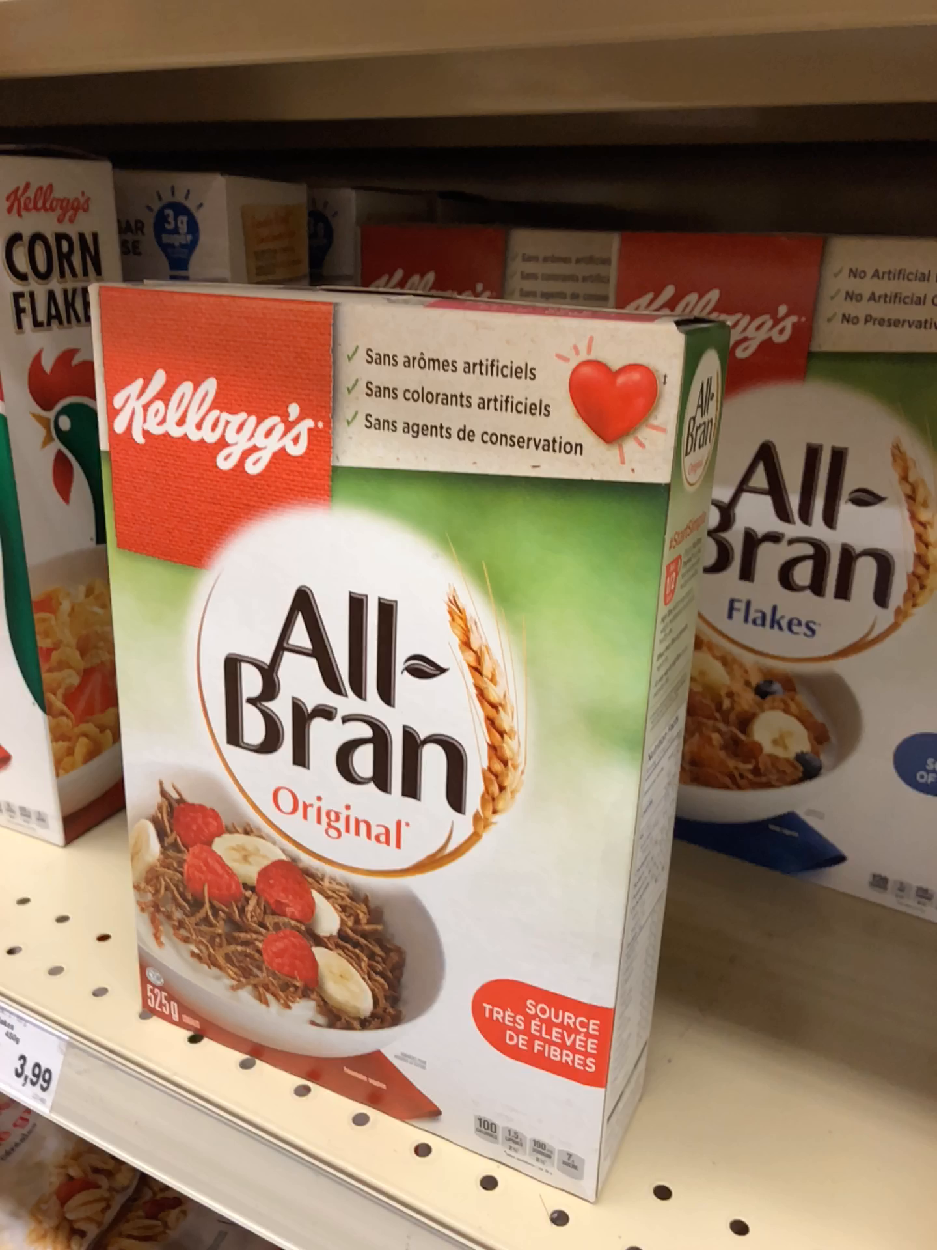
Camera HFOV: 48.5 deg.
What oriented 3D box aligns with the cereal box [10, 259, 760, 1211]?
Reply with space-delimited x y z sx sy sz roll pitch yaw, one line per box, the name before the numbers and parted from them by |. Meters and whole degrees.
cereal box | -0.030 0.023 0.304 0.190 0.238 0.050 11 22 25
